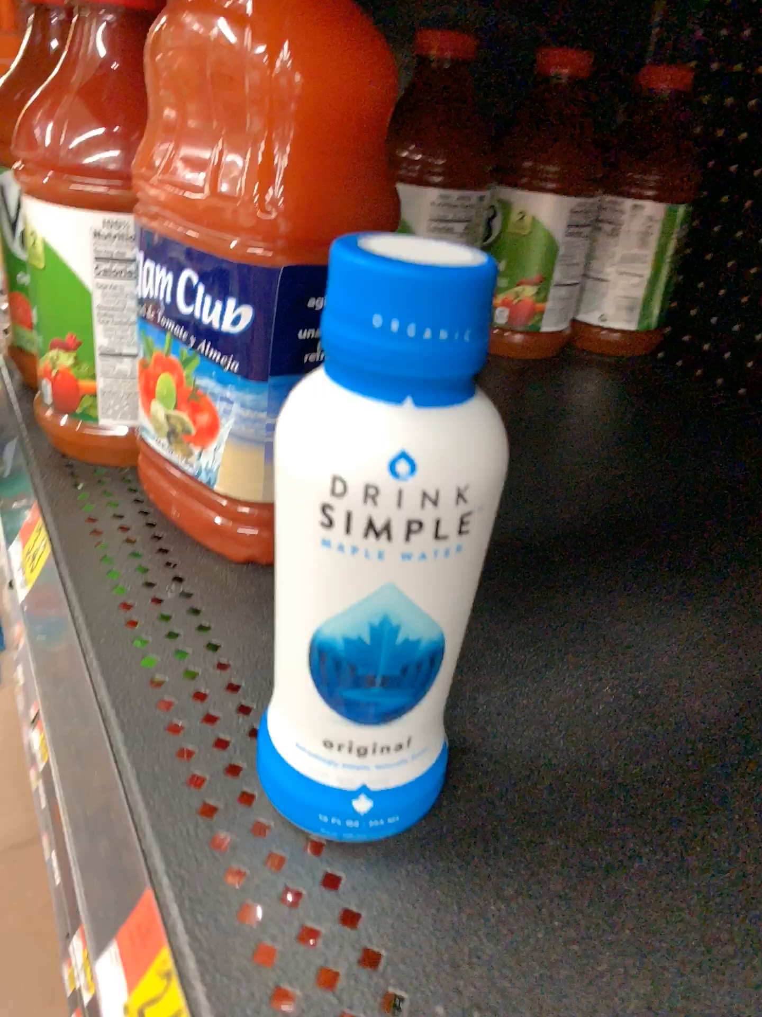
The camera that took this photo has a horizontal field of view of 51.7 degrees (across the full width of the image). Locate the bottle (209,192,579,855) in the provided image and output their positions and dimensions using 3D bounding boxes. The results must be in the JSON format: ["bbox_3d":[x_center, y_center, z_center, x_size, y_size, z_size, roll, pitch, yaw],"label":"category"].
[{"bbox_3d":[-0.006,0.011,0.217,0.070,0.169,0.066,4,29,-2],"label":"bottle"}]
